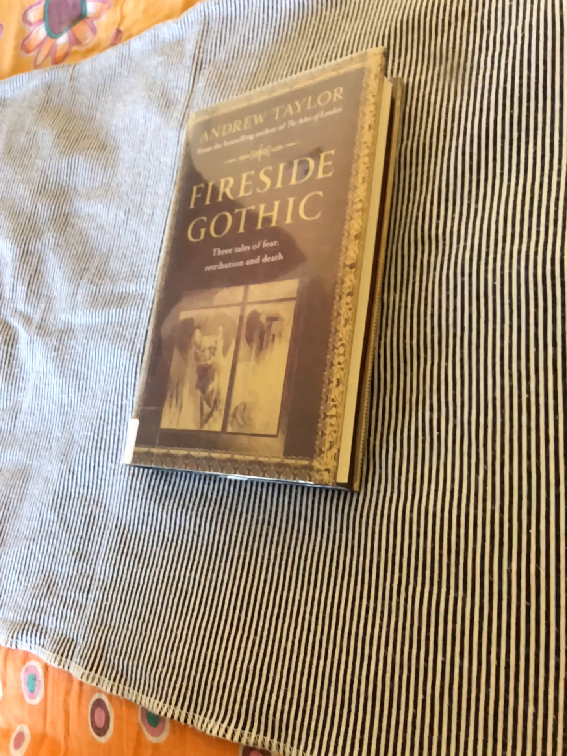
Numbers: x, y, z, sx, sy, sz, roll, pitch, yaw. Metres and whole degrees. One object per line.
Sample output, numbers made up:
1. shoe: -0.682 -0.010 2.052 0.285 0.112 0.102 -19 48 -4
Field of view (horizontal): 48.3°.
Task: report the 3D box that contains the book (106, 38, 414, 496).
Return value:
1. book: -0.013 -0.056 0.331 0.140 0.027 0.216 0 74 34
